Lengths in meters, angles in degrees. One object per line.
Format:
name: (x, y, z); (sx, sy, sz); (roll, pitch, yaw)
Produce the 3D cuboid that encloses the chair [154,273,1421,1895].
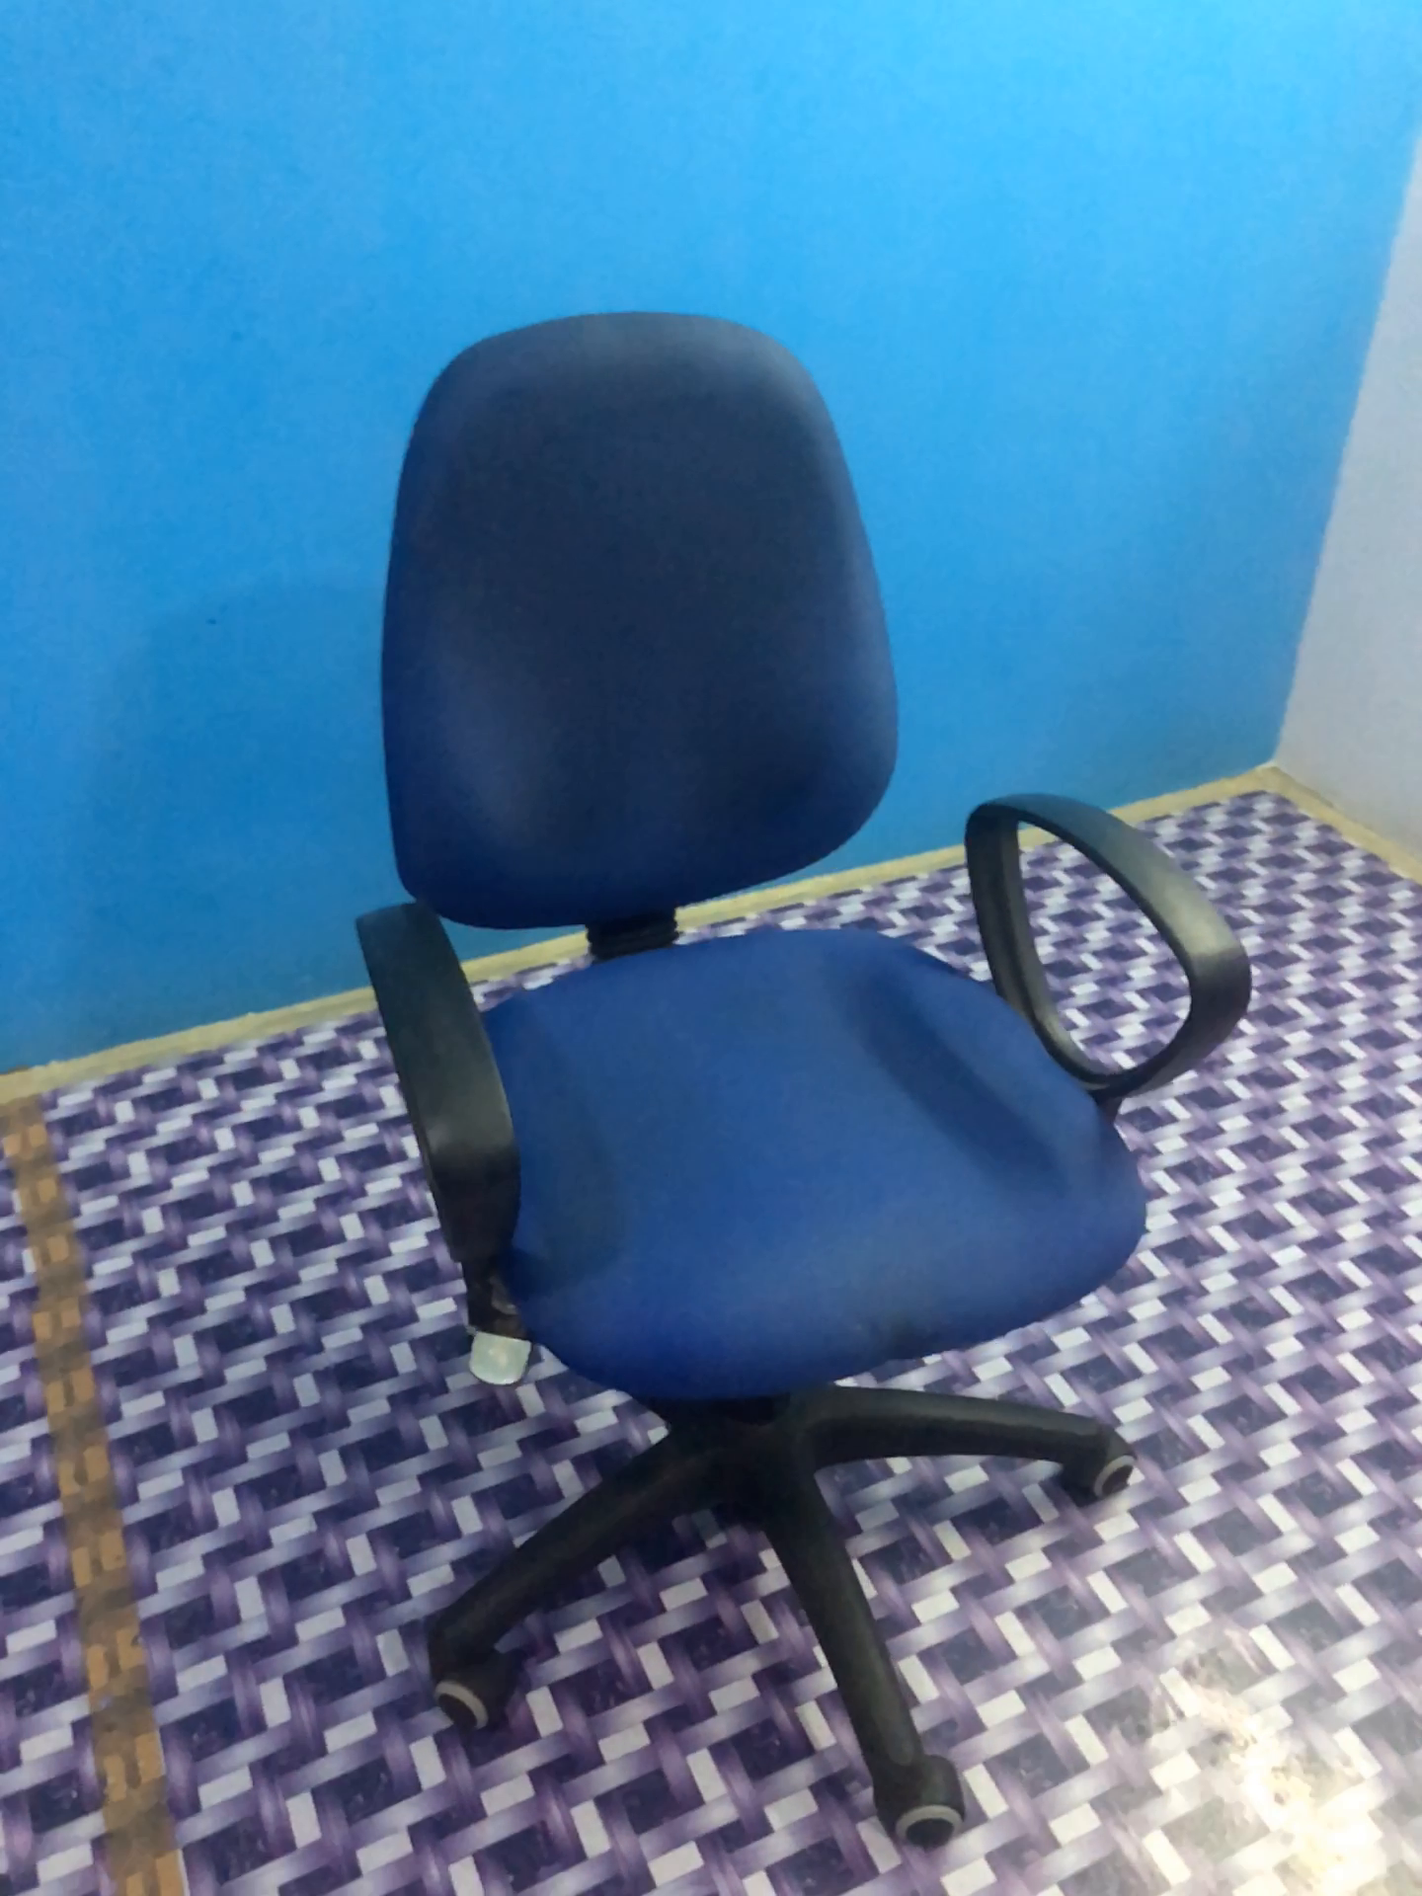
chair: (0.062, 0.083, 1.125); (0.701, 0.915, 0.693); (-10, 35, -17)
